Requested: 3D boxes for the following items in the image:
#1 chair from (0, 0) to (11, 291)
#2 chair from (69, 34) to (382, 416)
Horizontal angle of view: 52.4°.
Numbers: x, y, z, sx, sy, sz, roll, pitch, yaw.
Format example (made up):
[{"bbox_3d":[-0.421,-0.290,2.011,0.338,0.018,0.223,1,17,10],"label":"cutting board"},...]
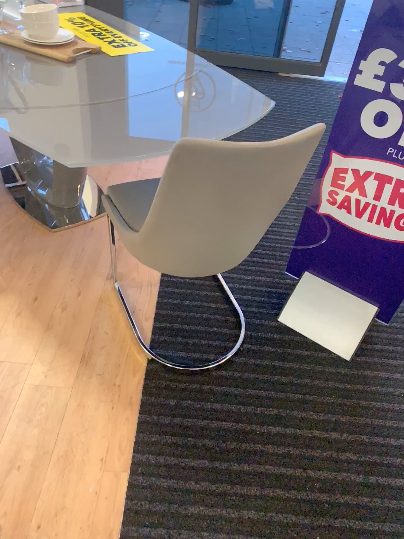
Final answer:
[{"bbox_3d":[-1.082,-0.495,1.380,0.621,0.931,0.545,-9,45,-17],"label":"chair"},{"bbox_3d":[-0.036,-0.147,1.305,0.531,0.901,0.686,-12,46,-20],"label":"chair"}]
